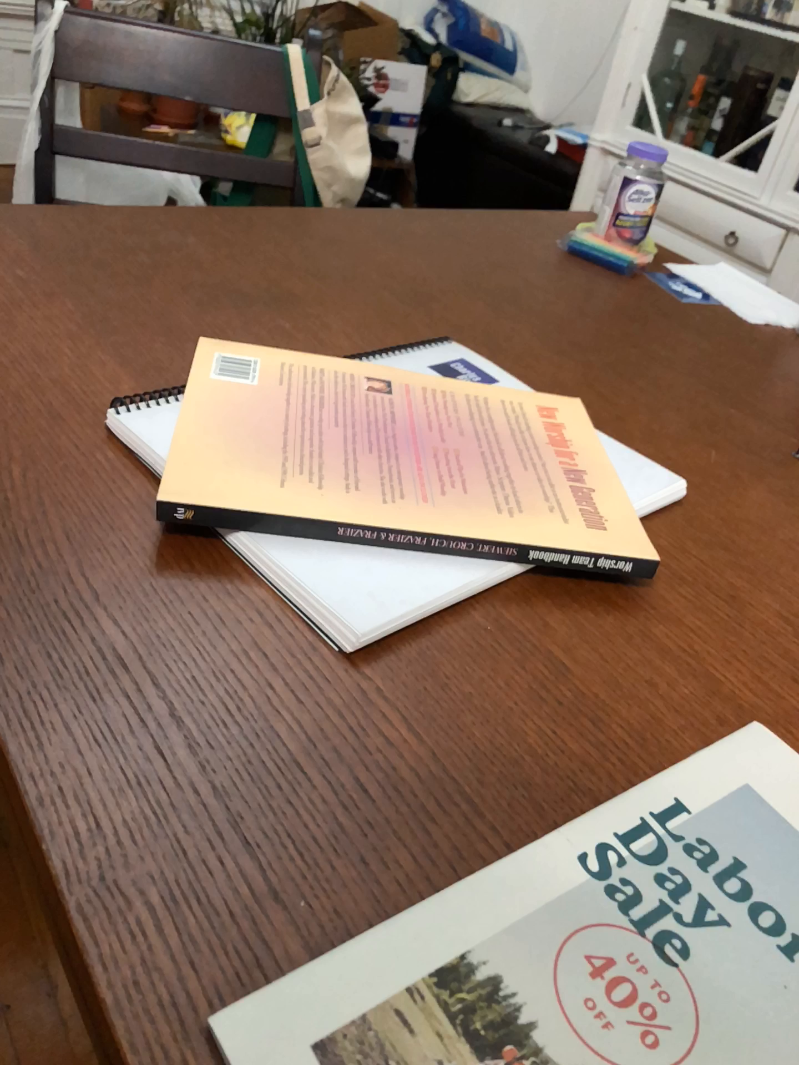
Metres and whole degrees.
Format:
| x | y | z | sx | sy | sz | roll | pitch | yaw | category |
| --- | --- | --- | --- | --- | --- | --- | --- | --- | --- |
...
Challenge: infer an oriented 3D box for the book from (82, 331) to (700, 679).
| x | y | z | sx | sy | sz | roll | pitch | yaw | category |
| --- | --- | --- | --- | --- | --- | --- | --- | --- | --- |
| 0.004 | -0.046 | 0.525 | 0.291 | 0.020 | 0.231 | -21 | 46 | -40 | book |

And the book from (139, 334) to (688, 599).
| x | y | z | sx | sy | sz | roll | pitch | yaw | category |
| --- | --- | --- | --- | --- | --- | --- | --- | --- | --- |
| 0.005 | -0.045 | 0.492 | 0.260 | 0.020 | 0.191 | 7 | 34 | -9 | book |

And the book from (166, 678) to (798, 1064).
| x | y | z | sx | sy | sz | roll | pitch | yaw | category |
| --- | --- | --- | --- | --- | --- | --- | --- | --- | --- |
| 0.101 | 0.151 | 0.256 | 0.271 | 0.010 | 0.201 | -14 | 42 | -34 | book |
